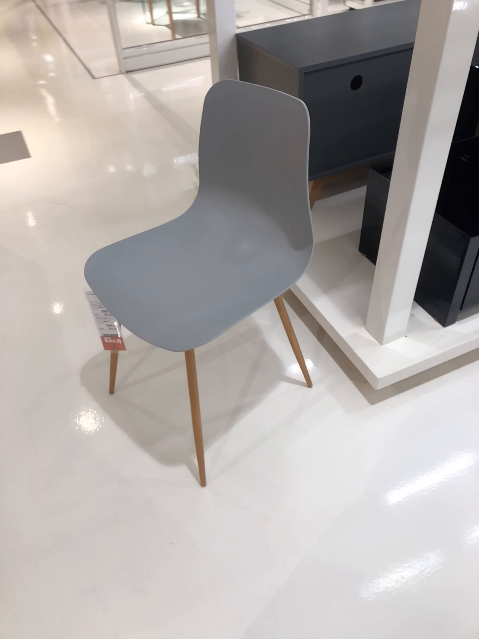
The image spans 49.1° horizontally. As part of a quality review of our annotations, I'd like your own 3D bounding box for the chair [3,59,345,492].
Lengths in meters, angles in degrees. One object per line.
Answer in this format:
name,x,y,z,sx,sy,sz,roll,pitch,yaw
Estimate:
chair,-0.110,-0.097,1.283,0.472,0.814,0.472,-34,50,-28
